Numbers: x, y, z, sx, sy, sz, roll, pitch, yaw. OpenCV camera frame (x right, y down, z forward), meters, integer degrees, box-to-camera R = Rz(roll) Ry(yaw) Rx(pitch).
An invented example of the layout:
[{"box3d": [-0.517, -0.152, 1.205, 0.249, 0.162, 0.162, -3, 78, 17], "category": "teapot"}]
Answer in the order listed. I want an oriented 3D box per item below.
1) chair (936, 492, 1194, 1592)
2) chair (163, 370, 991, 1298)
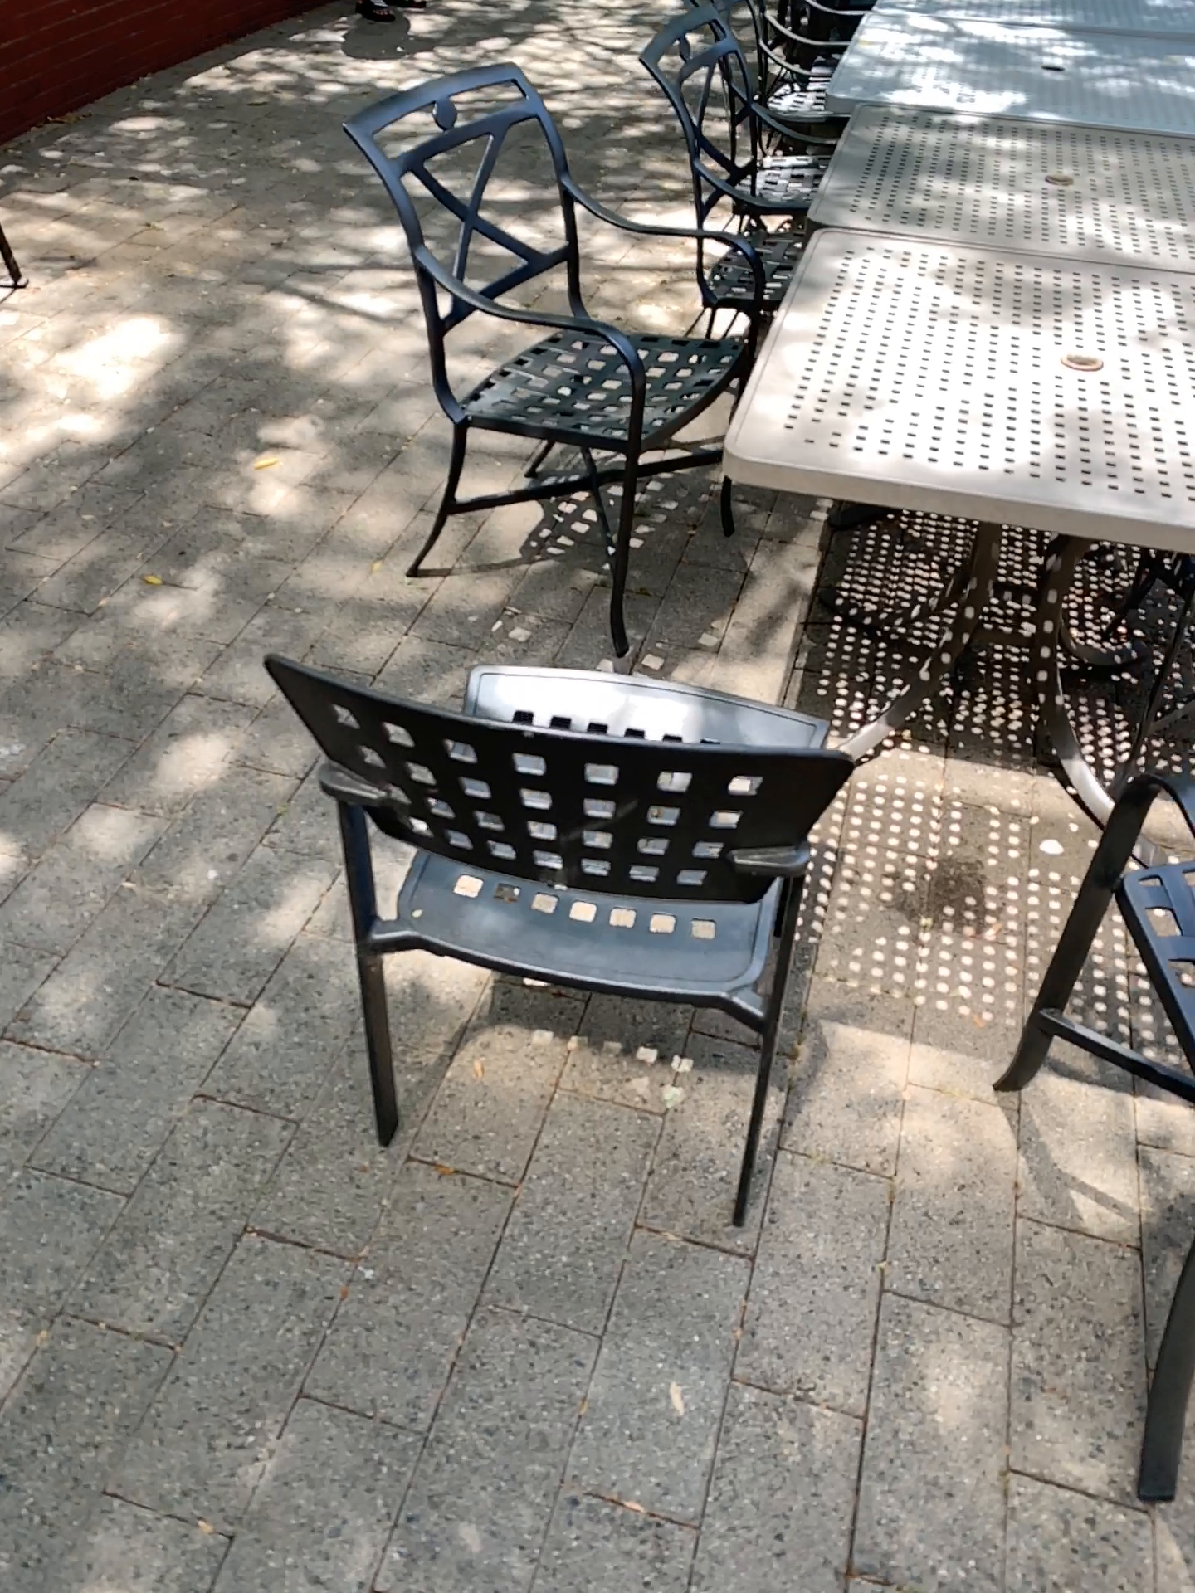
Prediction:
[{"box3d": [0.791, 0.231, 1.117, 0.620, 0.756, 0.654, -3, 43, -5], "category": "chair"}, {"box3d": [0.027, 0.028, 1.361, 0.620, 0.706, 0.653, 8, 43, 8], "category": "chair"}]
